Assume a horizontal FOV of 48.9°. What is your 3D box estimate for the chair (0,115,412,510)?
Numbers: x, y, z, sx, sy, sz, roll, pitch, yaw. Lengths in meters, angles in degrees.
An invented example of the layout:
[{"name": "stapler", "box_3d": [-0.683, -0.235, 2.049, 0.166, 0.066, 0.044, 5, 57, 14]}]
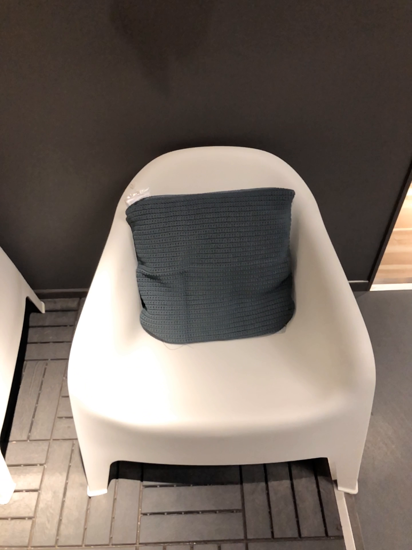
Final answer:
[{"name": "chair", "box_3d": [0.022, 0.108, 1.304, 0.830, 0.765, 0.785, -3, 47, -2]}]
